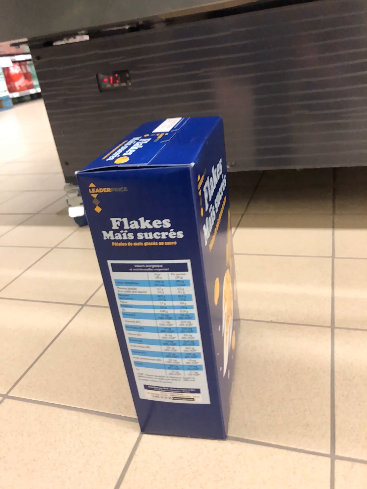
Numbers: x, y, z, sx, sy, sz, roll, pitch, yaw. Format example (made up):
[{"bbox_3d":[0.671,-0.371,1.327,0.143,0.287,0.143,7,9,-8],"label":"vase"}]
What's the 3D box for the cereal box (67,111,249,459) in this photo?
[{"bbox_3d":[0.004,0.033,0.451,0.100,0.308,0.211,-1,25,15],"label":"cereal box"}]
